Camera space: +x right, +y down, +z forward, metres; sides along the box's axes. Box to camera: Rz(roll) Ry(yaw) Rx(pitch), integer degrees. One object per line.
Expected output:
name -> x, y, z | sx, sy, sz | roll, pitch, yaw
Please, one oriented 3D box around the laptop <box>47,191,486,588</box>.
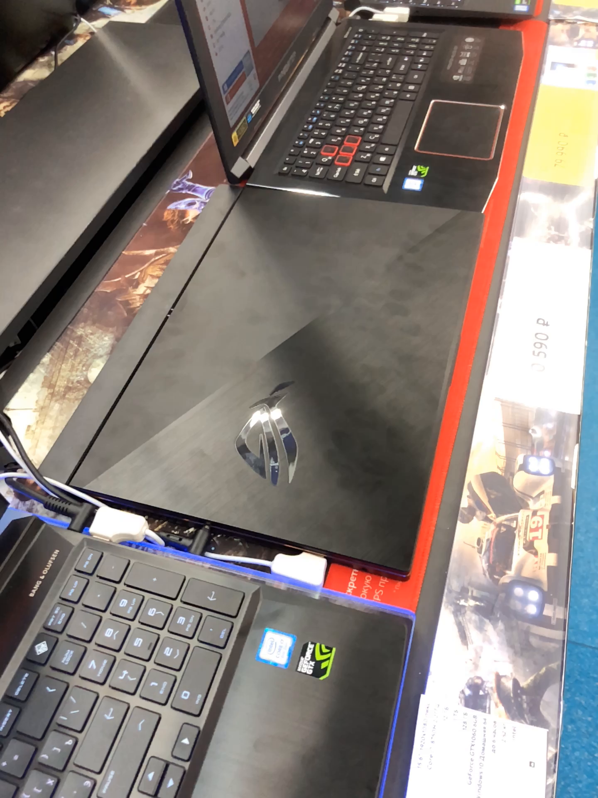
laptop -> -0.001, -0.046, 0.526 | 0.254, 0.006, 0.349 | 12, 53, 12
